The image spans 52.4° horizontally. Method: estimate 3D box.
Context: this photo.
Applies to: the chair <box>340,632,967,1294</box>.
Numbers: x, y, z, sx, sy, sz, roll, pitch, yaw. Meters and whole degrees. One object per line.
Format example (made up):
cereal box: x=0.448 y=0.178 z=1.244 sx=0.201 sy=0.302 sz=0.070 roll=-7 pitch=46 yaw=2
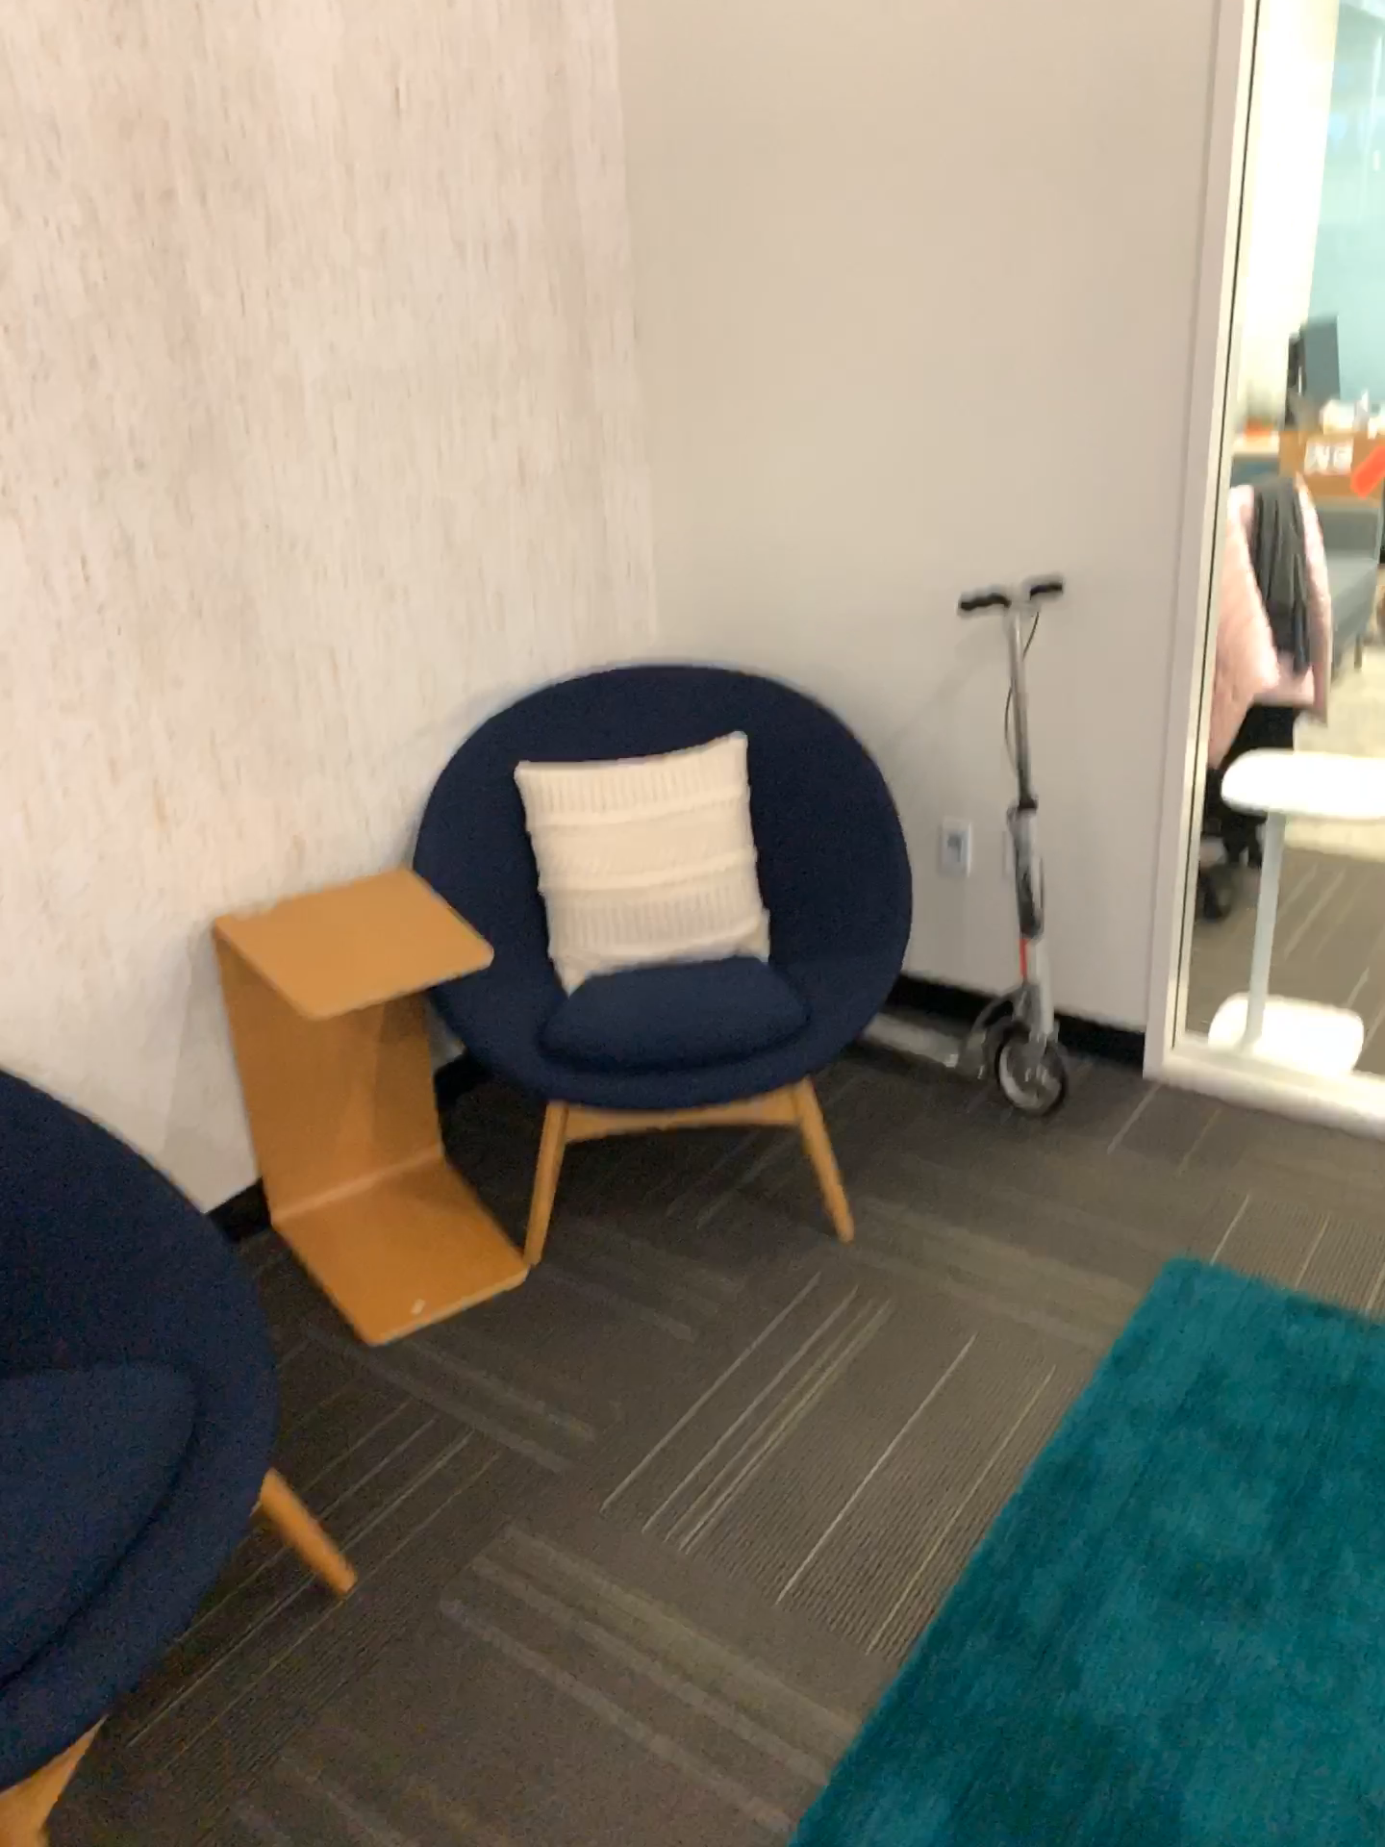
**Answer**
chair: x=-0.062 y=0.010 z=2.552 sx=0.890 sy=0.816 sz=0.884 roll=-5 pitch=24 yaw=-3
